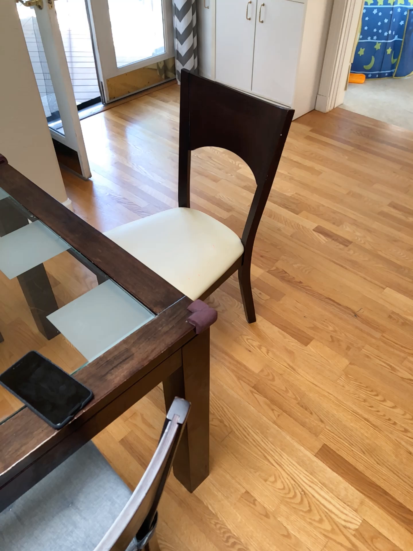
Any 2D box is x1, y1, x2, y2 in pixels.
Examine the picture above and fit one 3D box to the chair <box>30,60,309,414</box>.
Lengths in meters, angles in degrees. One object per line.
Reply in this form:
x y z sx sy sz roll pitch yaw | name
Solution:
-0.105 -0.127 1.641 0.592 0.994 0.562 -33 51 -30 | chair
